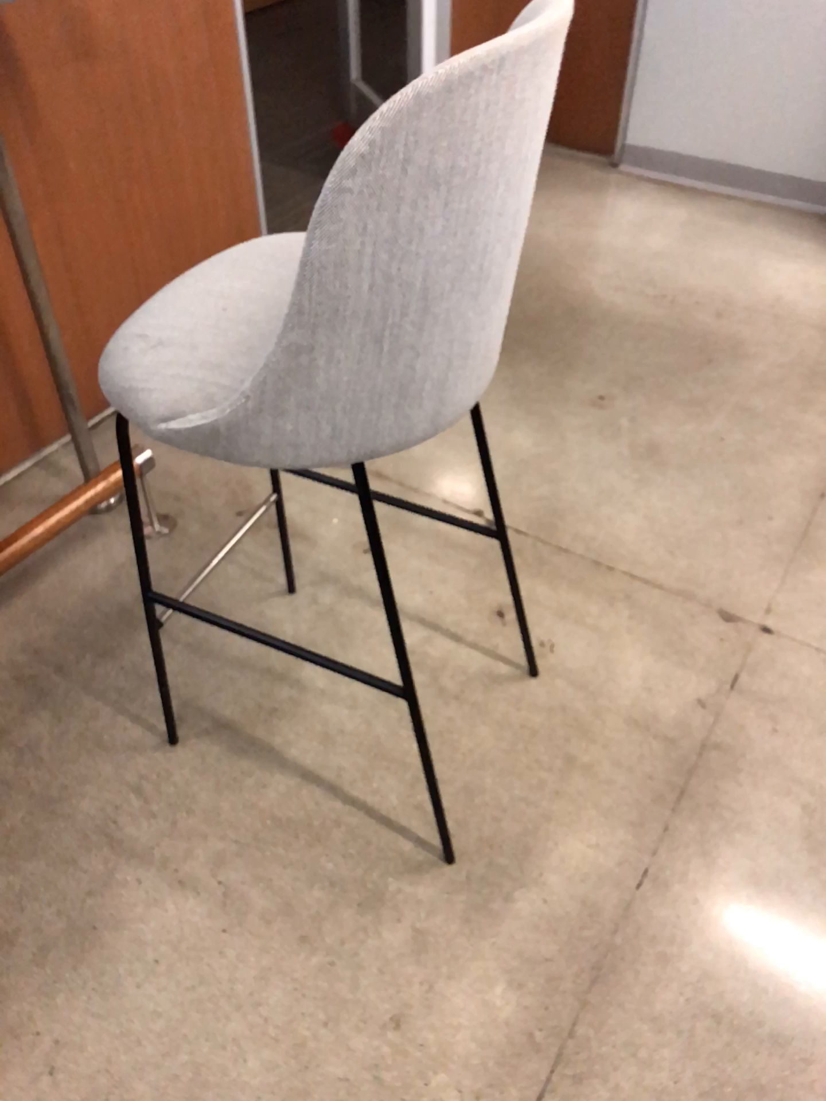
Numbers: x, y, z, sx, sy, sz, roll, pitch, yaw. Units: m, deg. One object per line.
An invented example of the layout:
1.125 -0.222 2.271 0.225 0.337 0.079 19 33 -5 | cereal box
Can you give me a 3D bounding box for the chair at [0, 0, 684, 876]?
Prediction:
-0.120 -0.165 1.212 0.621 1.094 0.462 18 45 18 | chair
